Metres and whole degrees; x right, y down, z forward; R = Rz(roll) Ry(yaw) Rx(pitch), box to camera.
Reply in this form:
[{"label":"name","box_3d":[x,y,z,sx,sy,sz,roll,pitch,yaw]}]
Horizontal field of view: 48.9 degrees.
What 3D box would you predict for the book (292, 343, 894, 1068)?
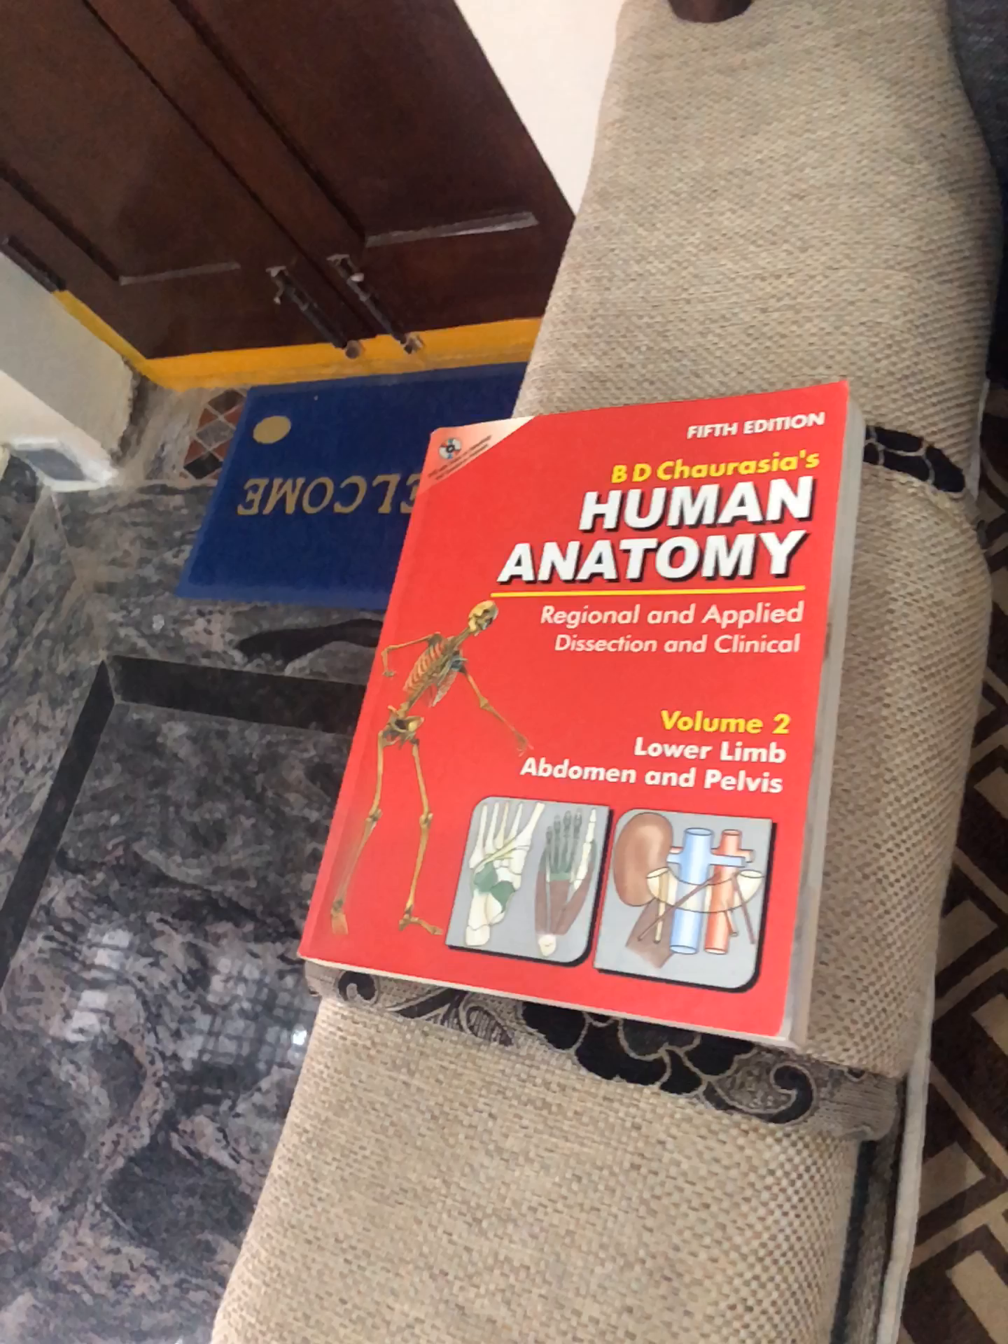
[{"label":"book","box_3d":[0.042,0.001,0.490,0.221,0.040,0.290,0,67,30]}]
